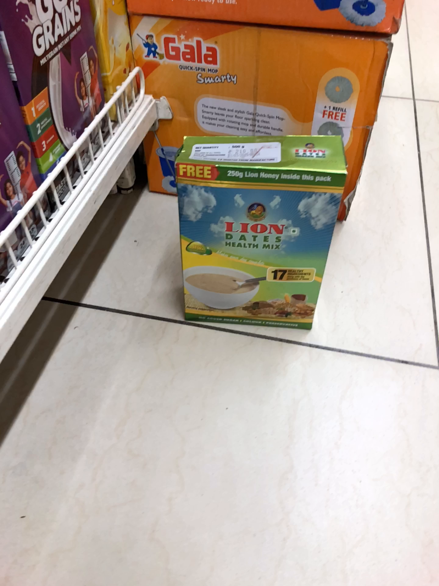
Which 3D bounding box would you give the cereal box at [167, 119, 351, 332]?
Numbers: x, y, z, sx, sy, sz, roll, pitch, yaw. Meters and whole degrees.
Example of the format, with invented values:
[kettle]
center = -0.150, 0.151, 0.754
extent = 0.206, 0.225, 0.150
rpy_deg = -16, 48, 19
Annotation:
[cereal box]
center = 0.035, -0.061, 0.529
extent = 0.160, 0.229, 0.070
rpy_deg = 3, 47, 2
